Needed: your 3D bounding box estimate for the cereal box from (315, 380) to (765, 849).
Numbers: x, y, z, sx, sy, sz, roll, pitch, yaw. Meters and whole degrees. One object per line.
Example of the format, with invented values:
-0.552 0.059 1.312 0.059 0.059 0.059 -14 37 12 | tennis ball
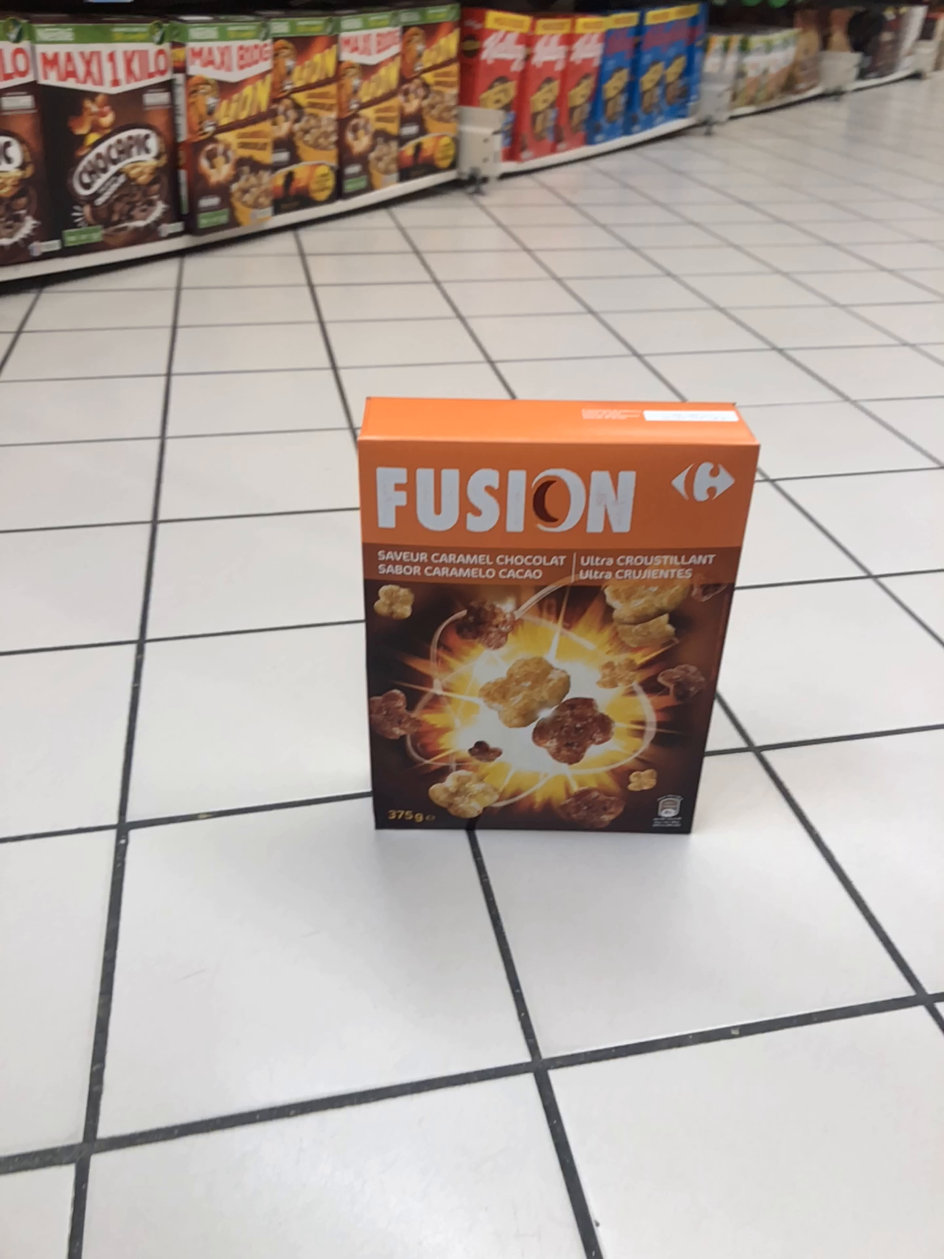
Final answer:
0.028 0.001 0.558 0.200 0.248 0.070 1 33 -1 | cereal box
